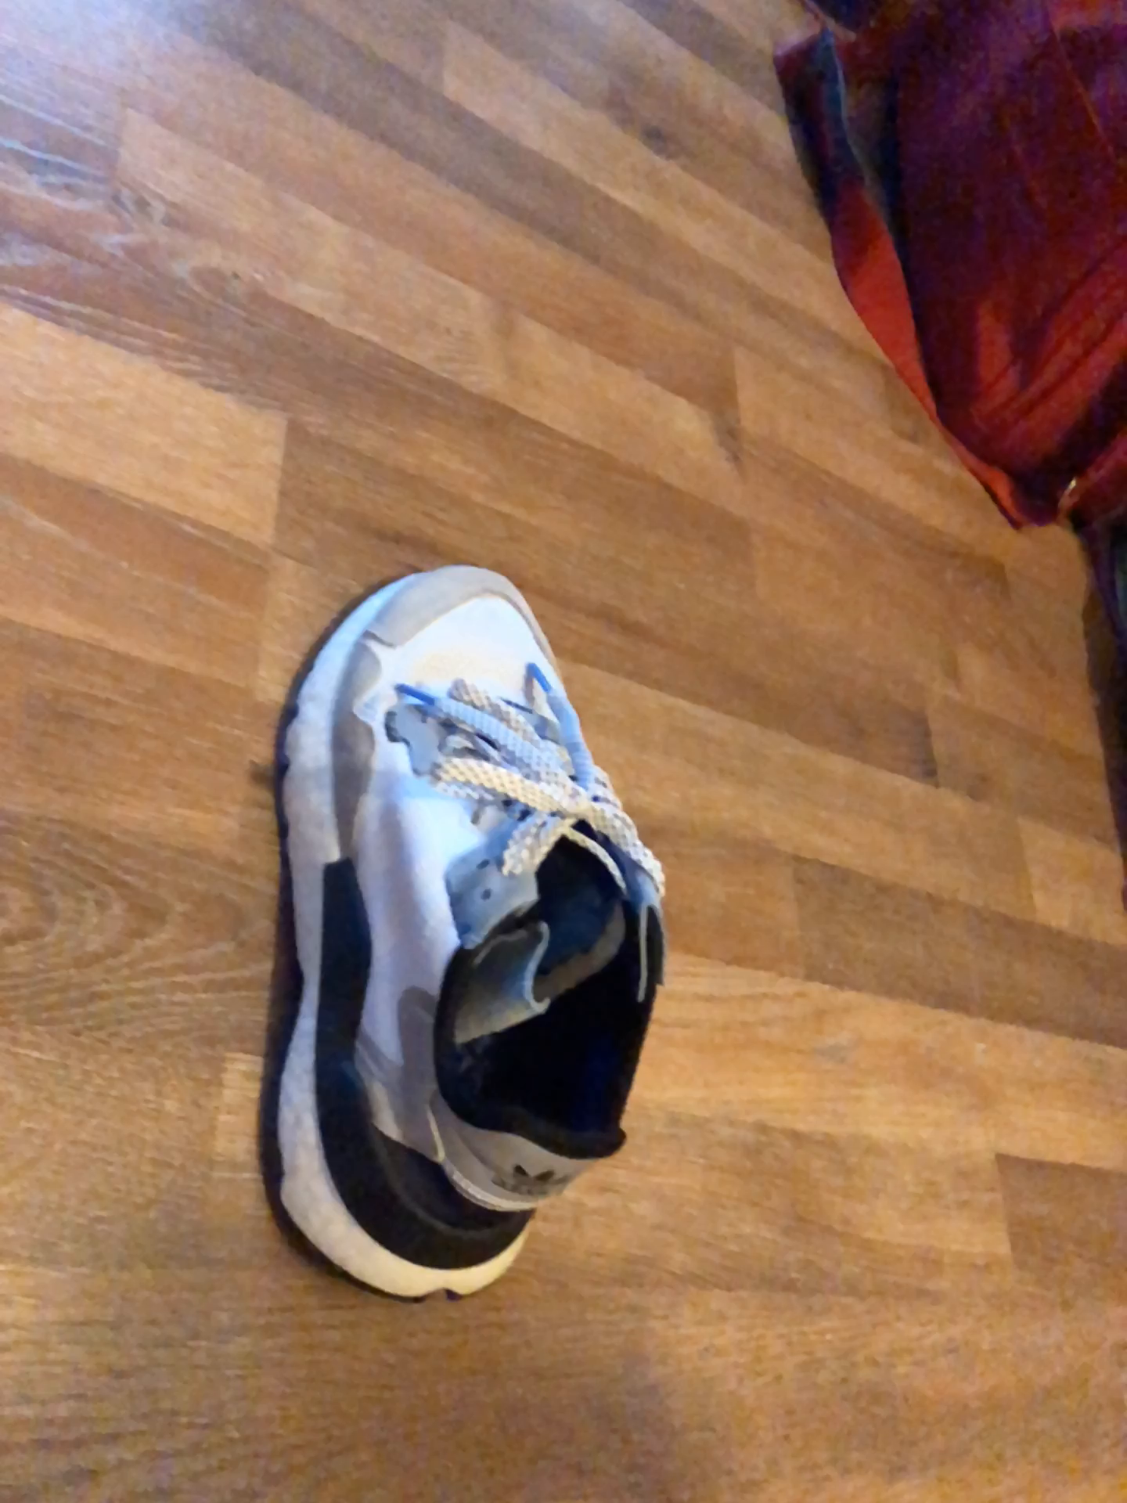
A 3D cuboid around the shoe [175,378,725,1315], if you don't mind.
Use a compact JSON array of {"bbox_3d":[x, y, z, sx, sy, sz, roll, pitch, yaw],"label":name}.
[{"bbox_3d":[-0.037,0.034,0.412,0.114,0.109,0.271,17,57,-32],"label":"shoe"}]
